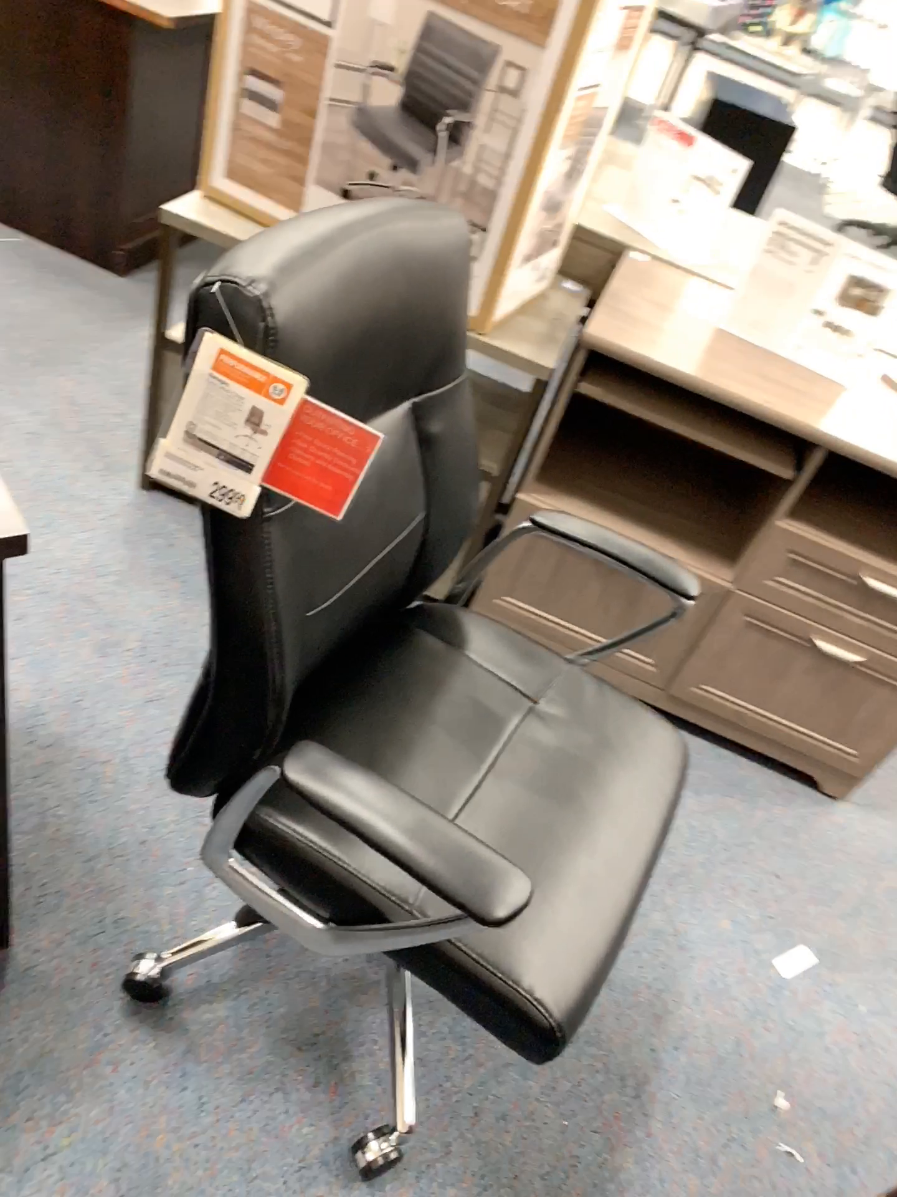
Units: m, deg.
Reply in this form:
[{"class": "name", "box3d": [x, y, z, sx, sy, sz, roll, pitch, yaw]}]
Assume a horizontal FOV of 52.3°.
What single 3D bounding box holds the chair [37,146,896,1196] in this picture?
[{"class": "chair", "box3d": [0.030, 0.139, 1.125, 0.717, 0.996, 0.667, 31, 40, 11]}]
